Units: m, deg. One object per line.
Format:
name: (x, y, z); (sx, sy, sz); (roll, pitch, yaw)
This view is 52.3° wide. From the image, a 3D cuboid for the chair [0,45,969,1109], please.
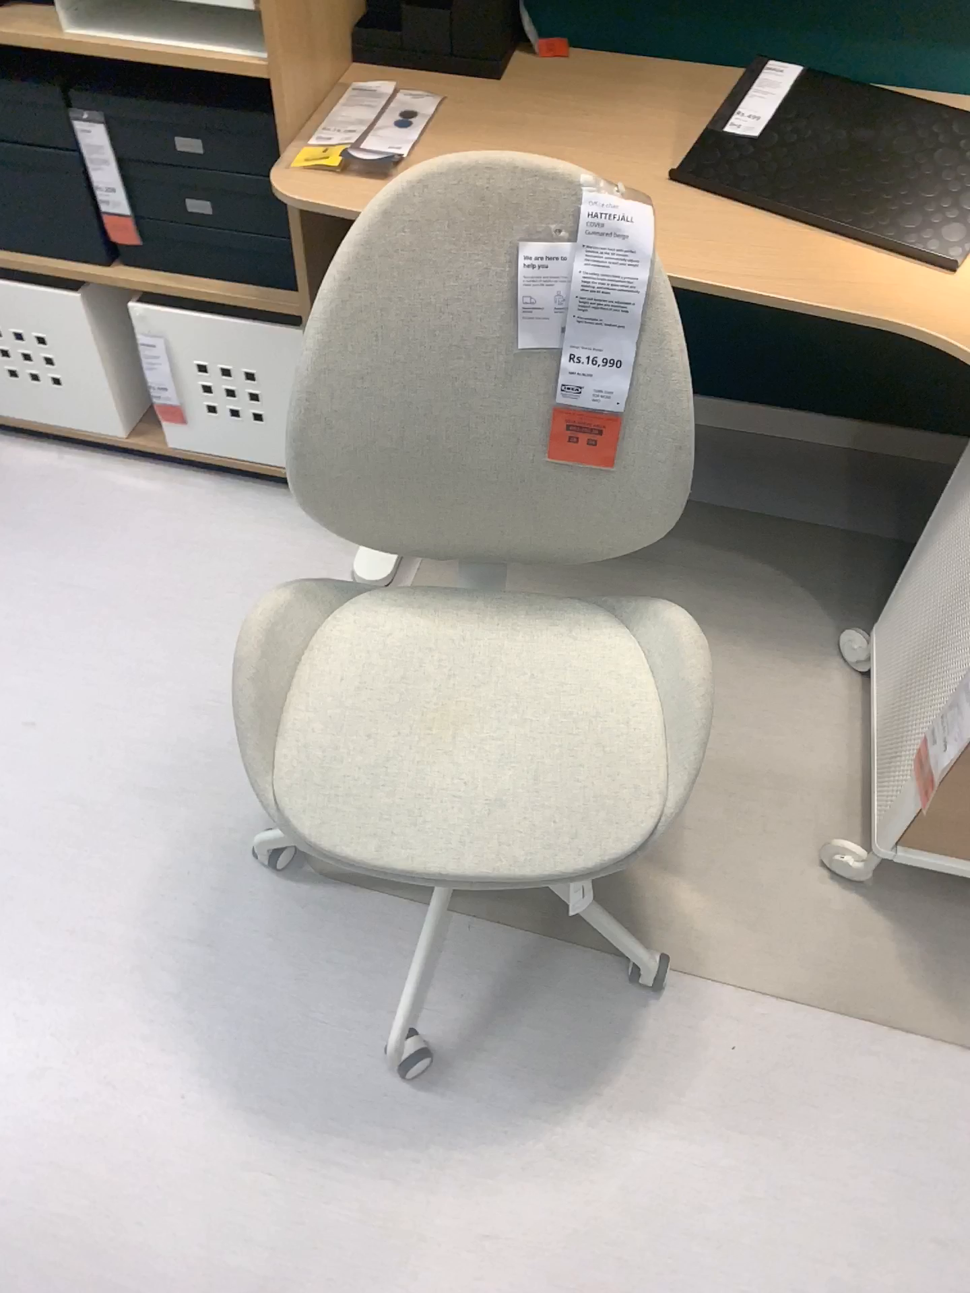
chair: (-0.035, 0.017, 1.103); (0.630, 0.997, 0.642); (4, 51, 1)
